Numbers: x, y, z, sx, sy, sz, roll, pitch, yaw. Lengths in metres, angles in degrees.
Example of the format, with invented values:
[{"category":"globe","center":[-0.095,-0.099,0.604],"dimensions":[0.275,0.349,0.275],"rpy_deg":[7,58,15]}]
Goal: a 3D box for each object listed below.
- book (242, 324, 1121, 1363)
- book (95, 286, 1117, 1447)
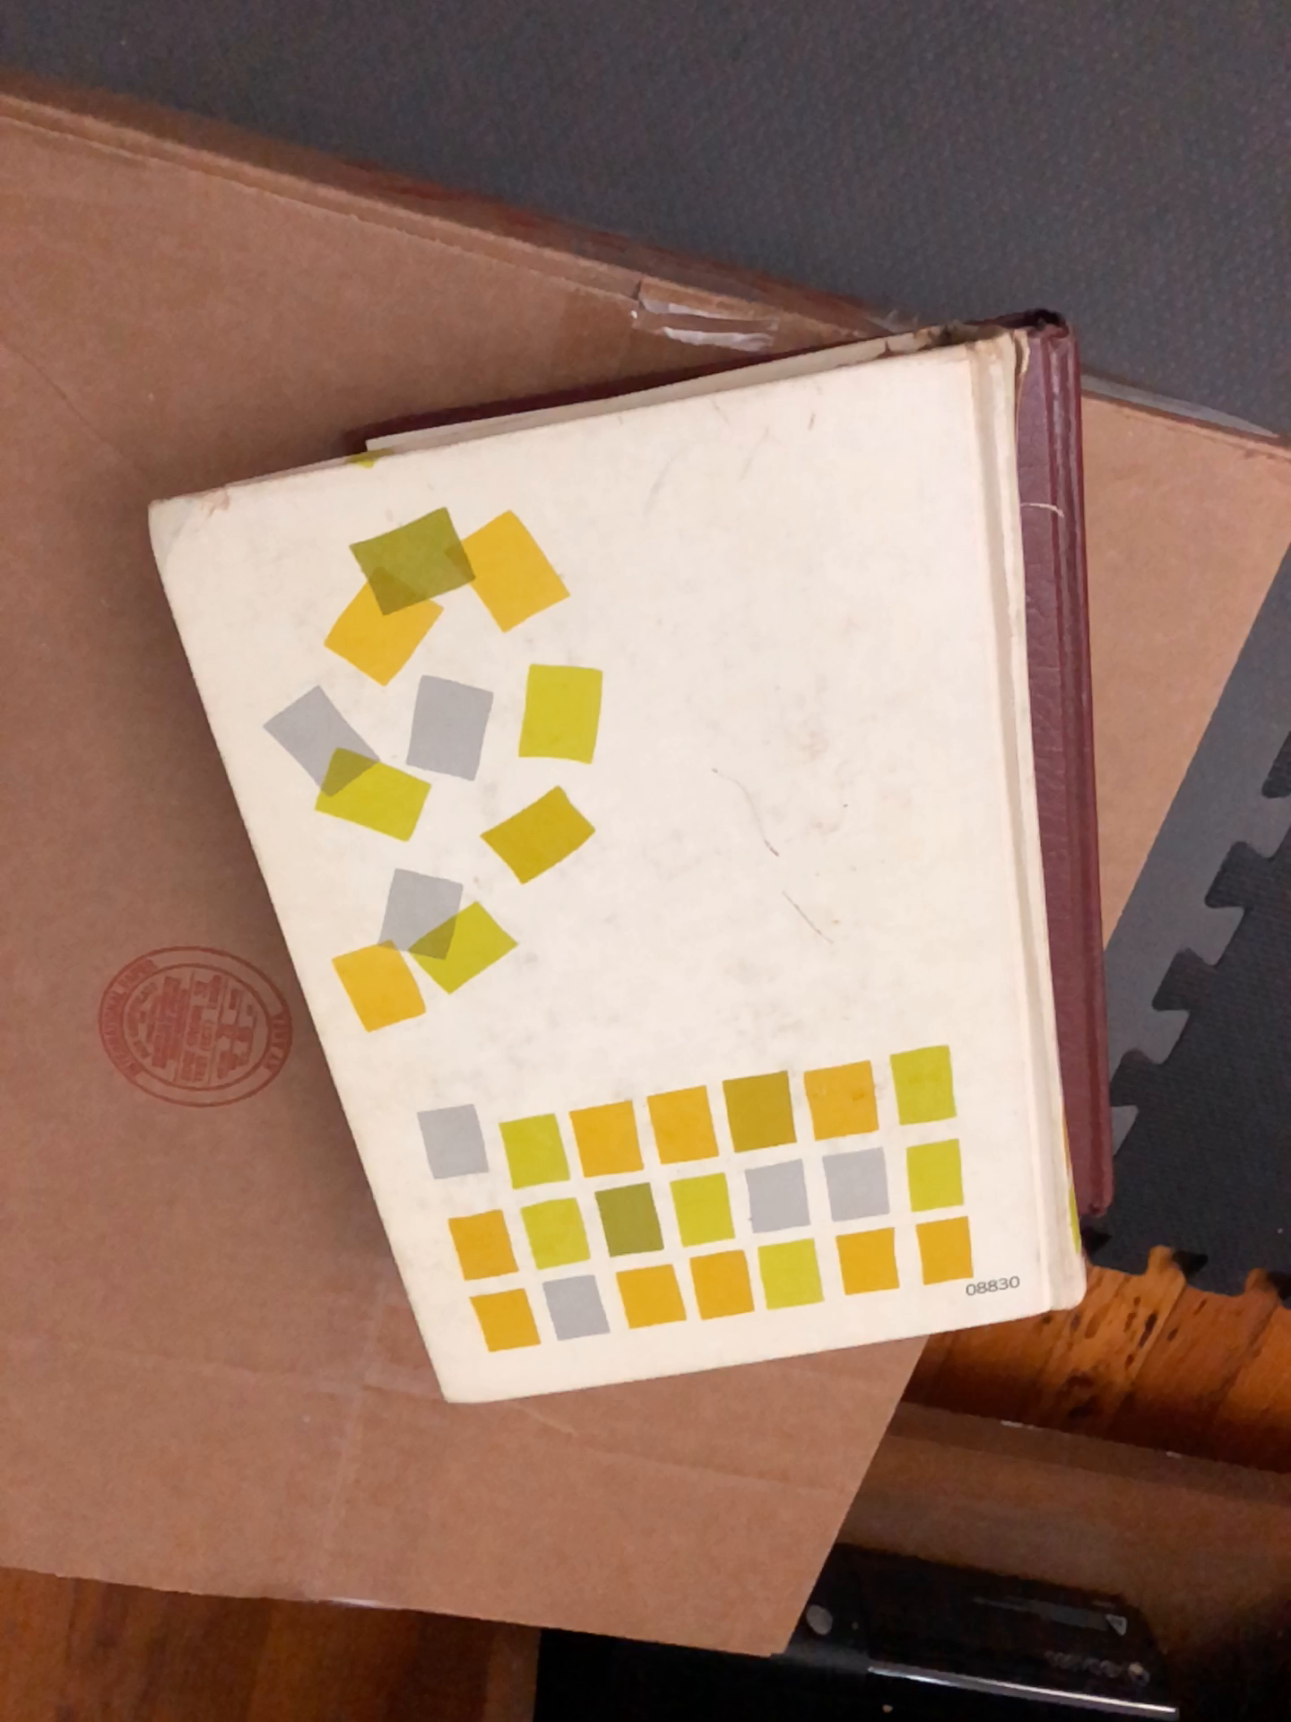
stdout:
[{"category":"book","center":[0.022,0.010,0.365],"dimensions":[0.180,0.040,0.250],"rpy_deg":[-8,117,0]},{"category":"book","center":[0.010,0.018,0.332],"dimensions":[0.180,0.040,0.250],"rpy_deg":[-11,117,2]}]
